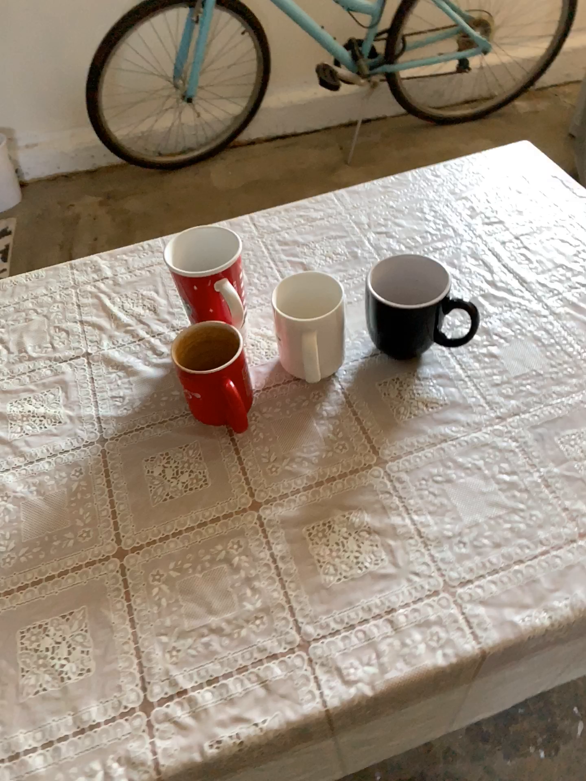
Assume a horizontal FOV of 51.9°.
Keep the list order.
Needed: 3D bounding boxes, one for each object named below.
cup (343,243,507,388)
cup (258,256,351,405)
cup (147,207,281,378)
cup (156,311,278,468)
[{"bbox_3d":[0.159,-0.095,0.742,0.160,0.090,0.110,19,56,21],"label":"cup"},{"bbox_3d":[0.014,-0.075,0.753,0.100,0.110,0.141,-6,51,2],"label":"cup"},{"bbox_3d":[-0.100,-0.127,0.782,0.100,0.139,0.141,-26,53,-14],"label":"cup"},{"bbox_3d":[-0.090,-0.003,0.713,0.090,0.090,0.141,-21,52,-10],"label":"cup"}]
